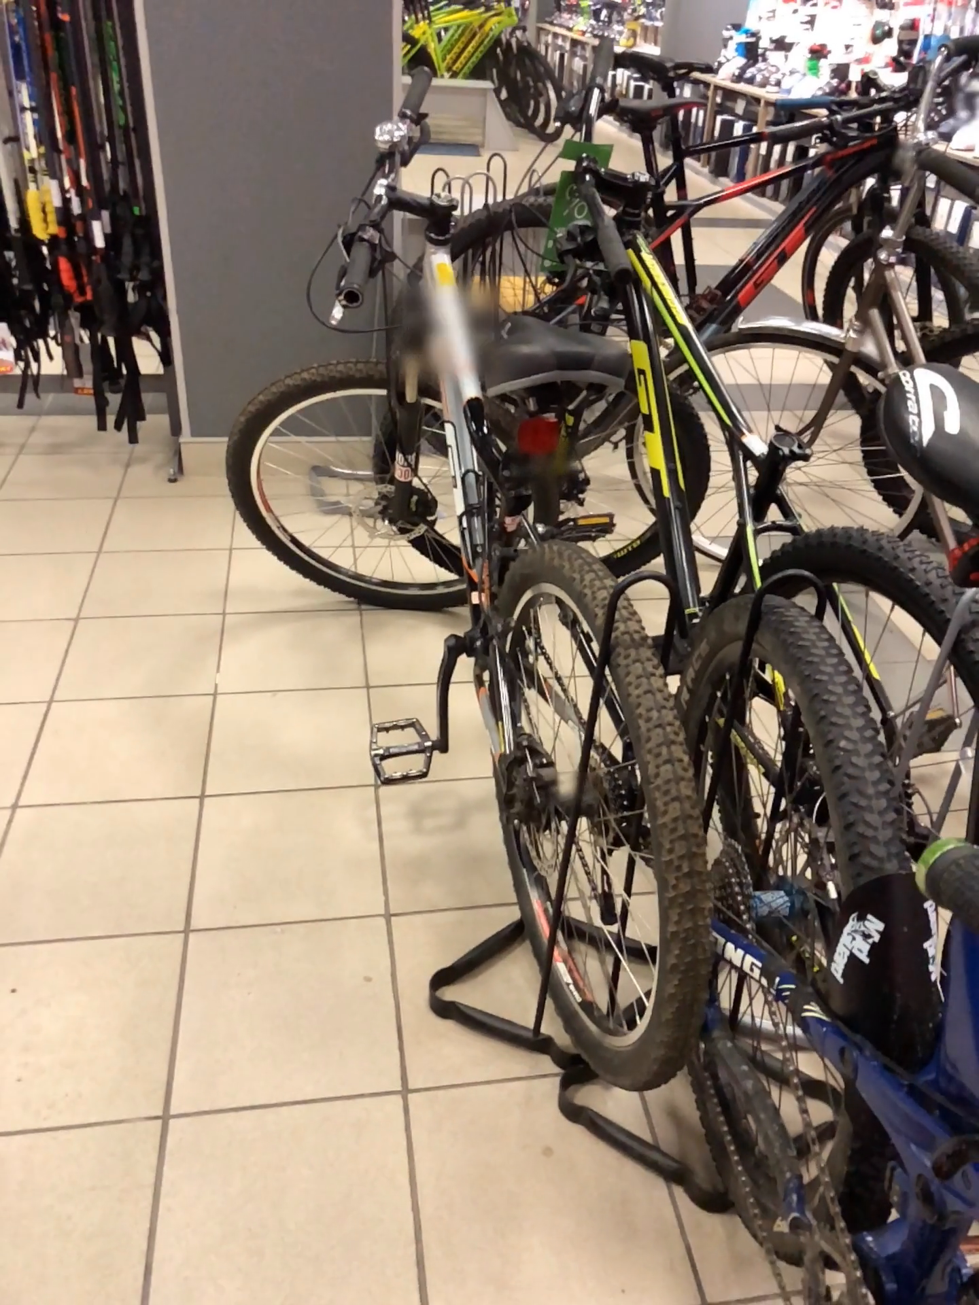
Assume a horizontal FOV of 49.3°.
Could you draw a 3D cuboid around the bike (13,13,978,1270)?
[{"bbox_3d":[-0.099,-0.204,1.482,0.625,1.012,1.431,-14,38,-26],"label":"bike"}]
